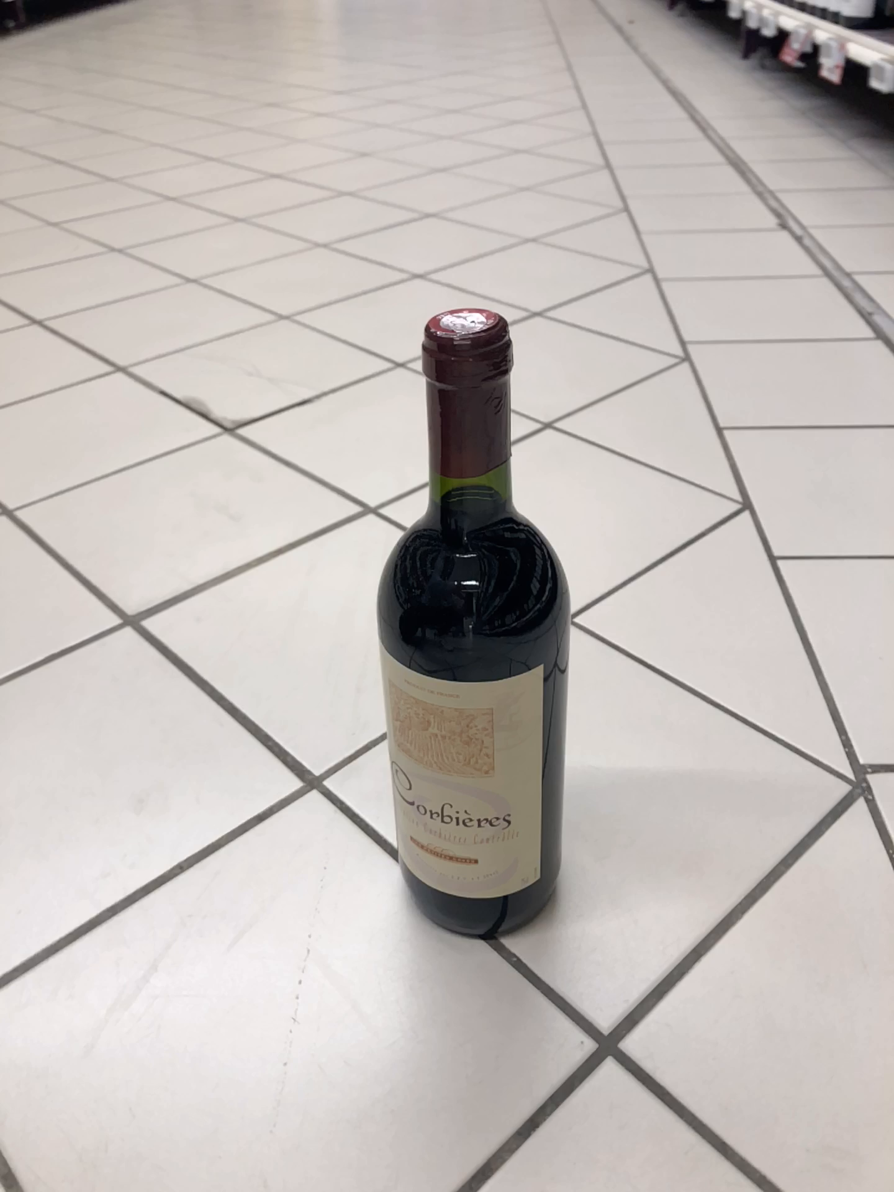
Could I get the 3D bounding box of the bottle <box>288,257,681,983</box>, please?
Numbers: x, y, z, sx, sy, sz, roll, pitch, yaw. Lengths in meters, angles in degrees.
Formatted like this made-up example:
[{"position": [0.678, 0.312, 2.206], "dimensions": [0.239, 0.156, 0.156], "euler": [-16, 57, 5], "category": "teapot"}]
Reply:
[{"position": [0.019, 0.017, 0.369], "dimensions": [0.090, 0.249, 0.091], "euler": [-1, 35, 1], "category": "bottle"}]
